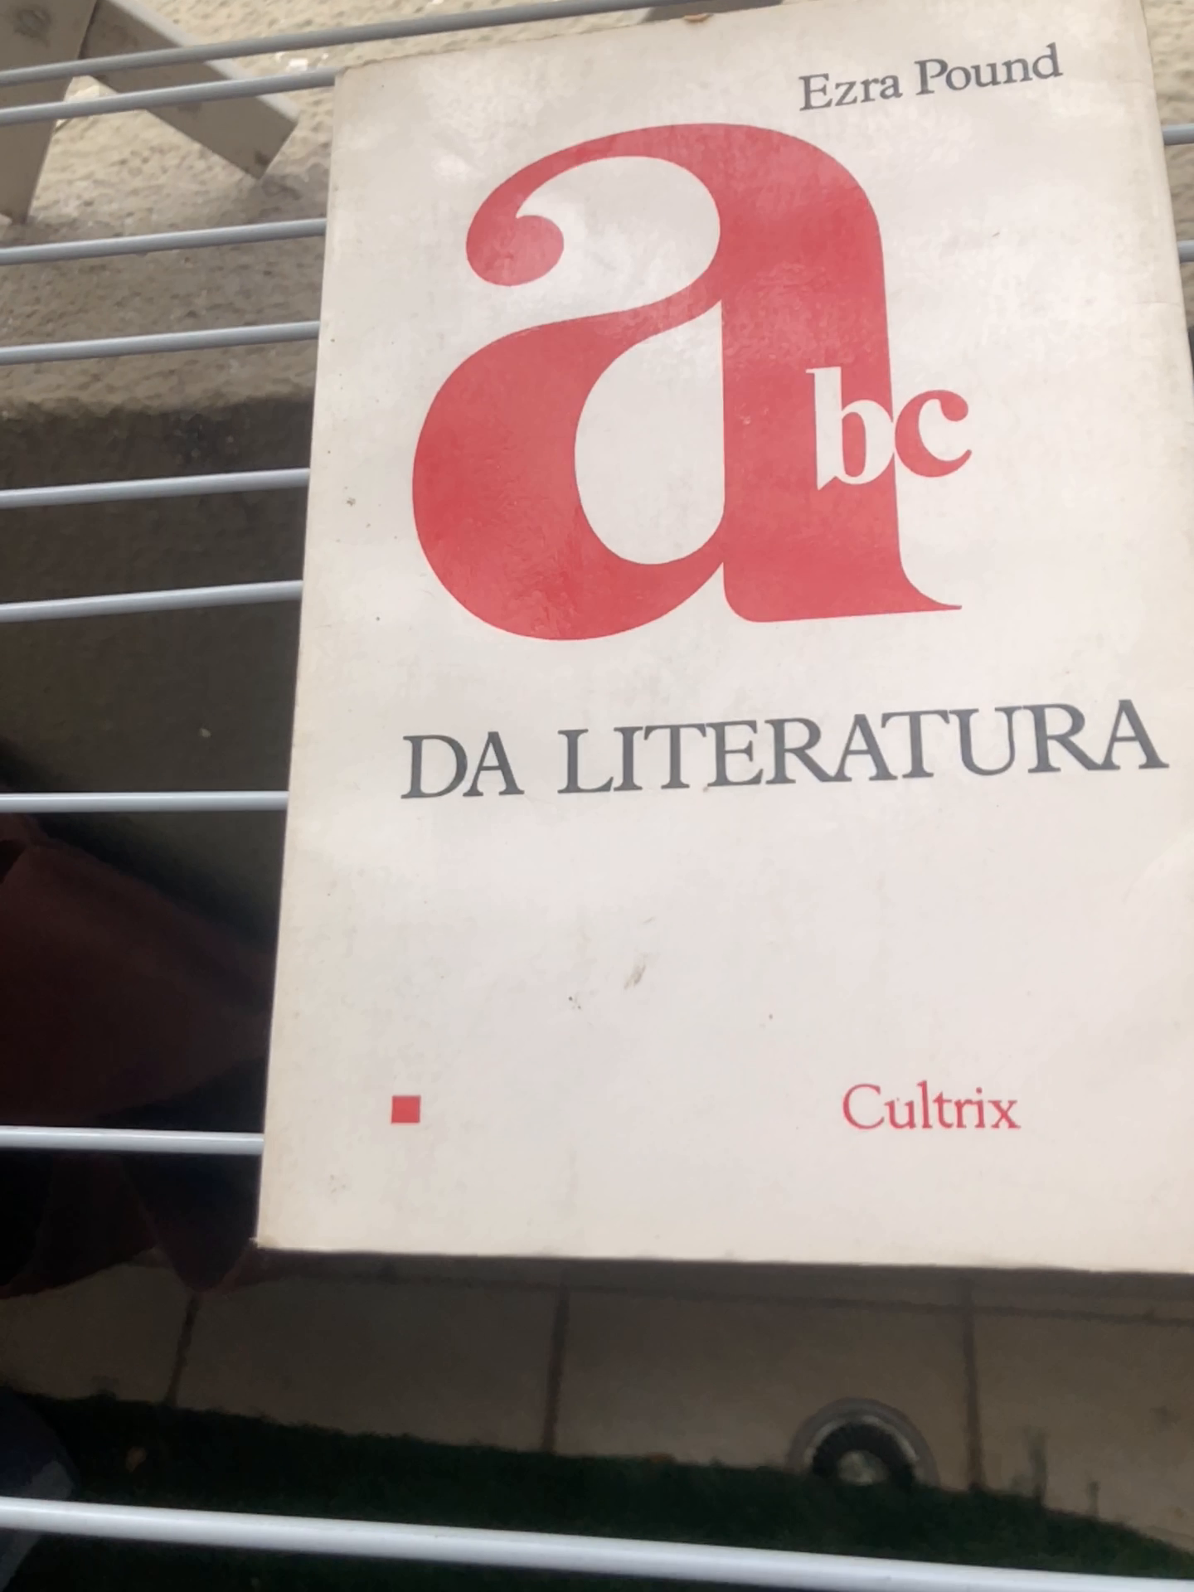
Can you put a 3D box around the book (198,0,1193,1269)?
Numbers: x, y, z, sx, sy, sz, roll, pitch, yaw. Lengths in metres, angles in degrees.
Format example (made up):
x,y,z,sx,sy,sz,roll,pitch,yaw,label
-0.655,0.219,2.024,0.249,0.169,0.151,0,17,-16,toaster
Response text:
x,y,z,sx,sy,sz,roll,pitch,yaw,label
0.018,-0.033,0.195,0.140,0.017,0.188,-2,75,10,book
